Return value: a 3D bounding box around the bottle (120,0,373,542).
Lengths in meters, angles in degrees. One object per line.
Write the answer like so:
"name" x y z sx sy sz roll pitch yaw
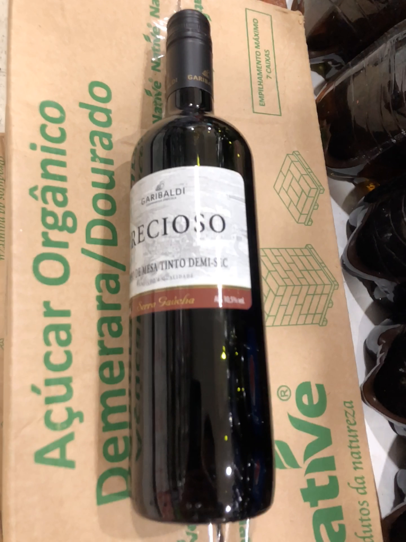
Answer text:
"bottle" 0.011 -0.036 0.259 0.090 0.080 0.340 7 71 -28
